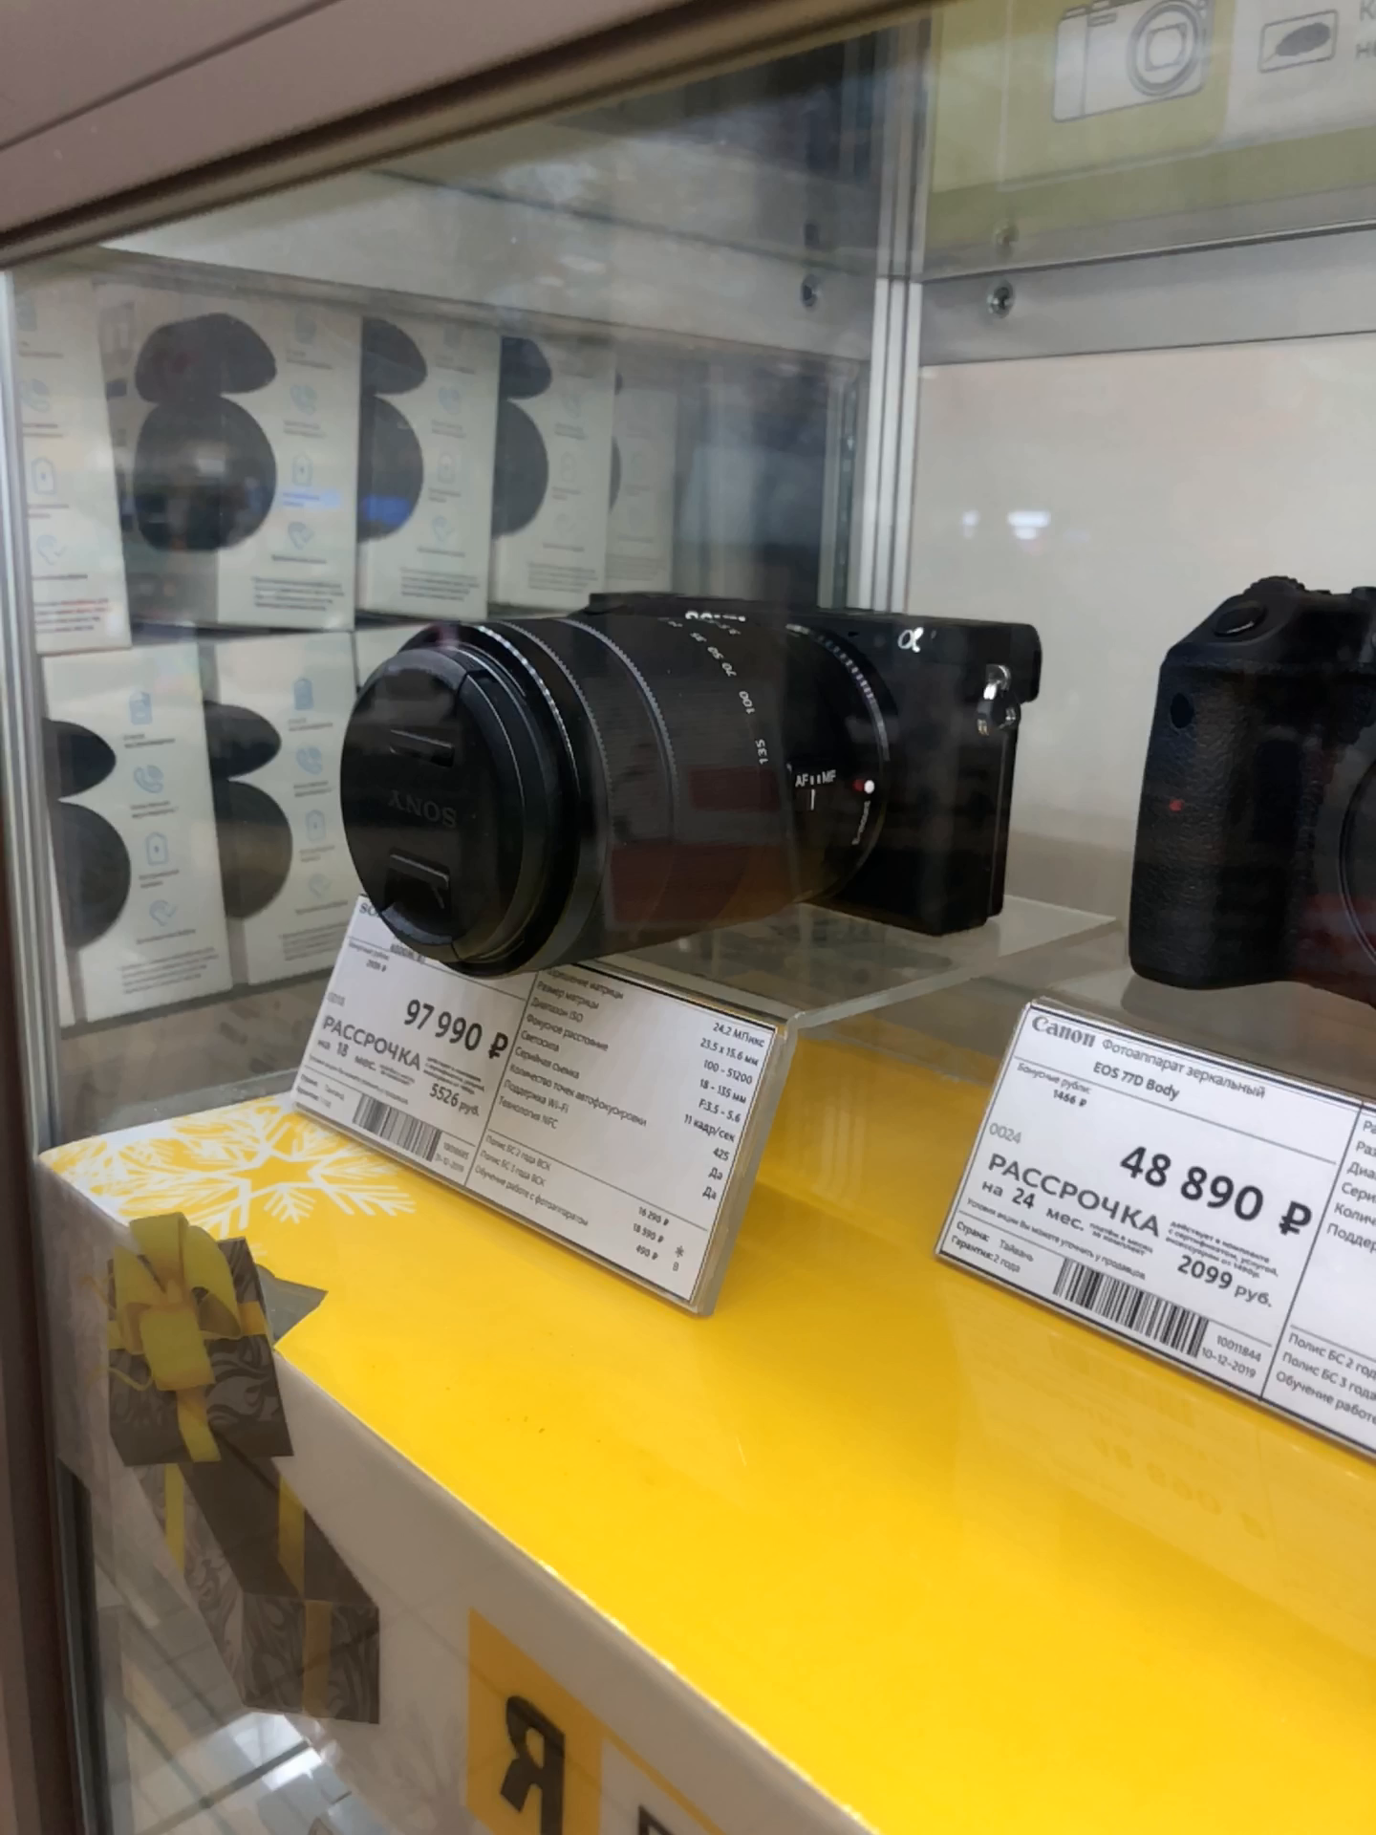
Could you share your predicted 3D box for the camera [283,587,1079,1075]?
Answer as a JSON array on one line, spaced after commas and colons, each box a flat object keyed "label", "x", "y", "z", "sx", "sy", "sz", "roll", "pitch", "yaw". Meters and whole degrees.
[{"label": "camera", "x": -0.005, "y": -0.032, "z": 0.350, "sx": 0.123, "sy": 0.080, "sz": 0.130, "roll": -10, "pitch": 18, "yaw": -39}]
